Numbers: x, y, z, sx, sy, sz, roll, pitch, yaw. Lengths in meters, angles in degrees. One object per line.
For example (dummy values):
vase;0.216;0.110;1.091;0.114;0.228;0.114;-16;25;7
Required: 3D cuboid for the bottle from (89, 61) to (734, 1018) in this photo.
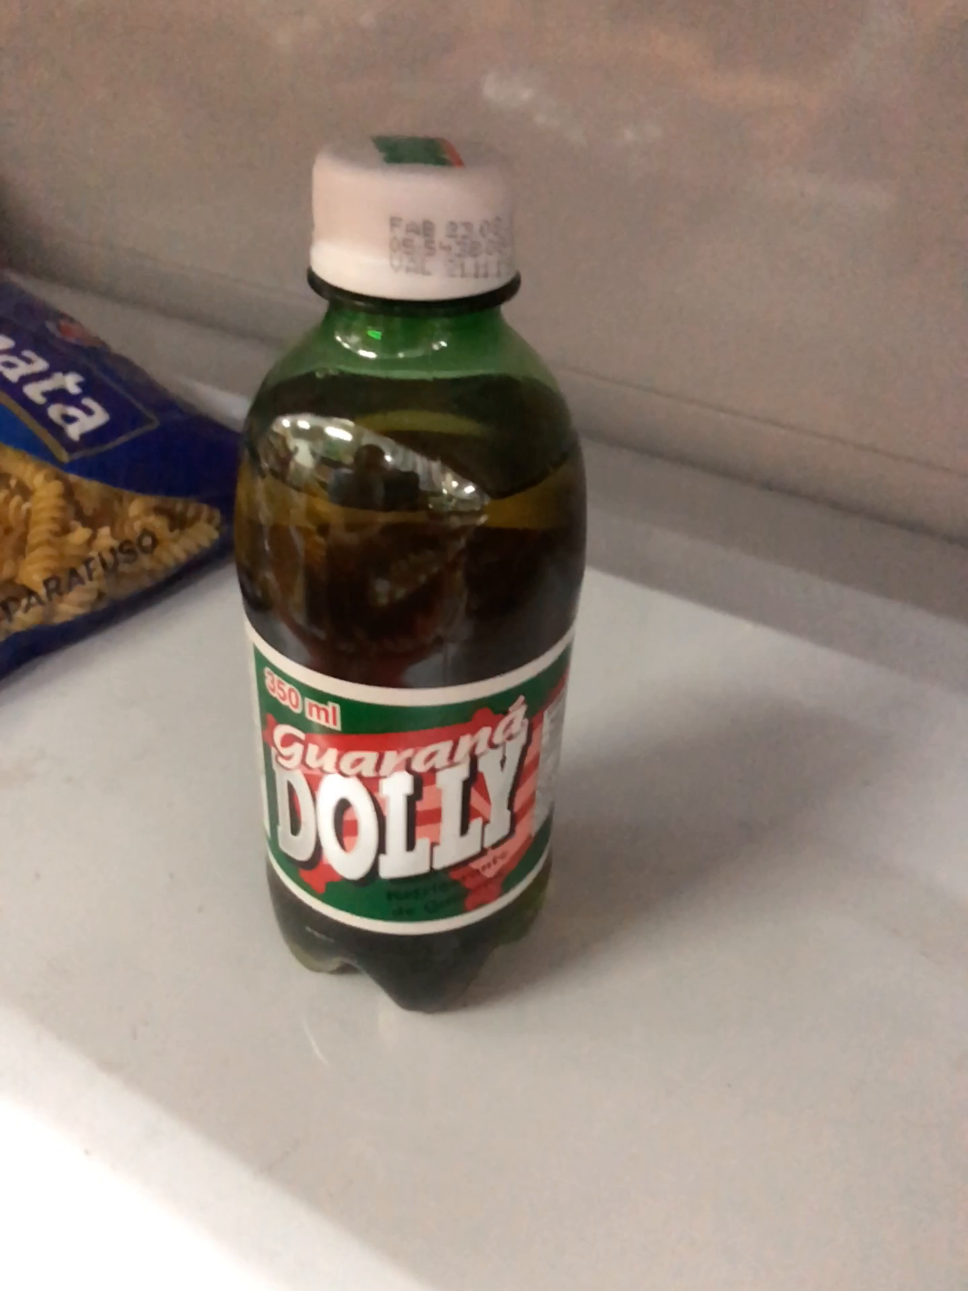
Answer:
bottle;-0.011;-0.009;0.217;0.080;0.179;0.071;1;38;-1
